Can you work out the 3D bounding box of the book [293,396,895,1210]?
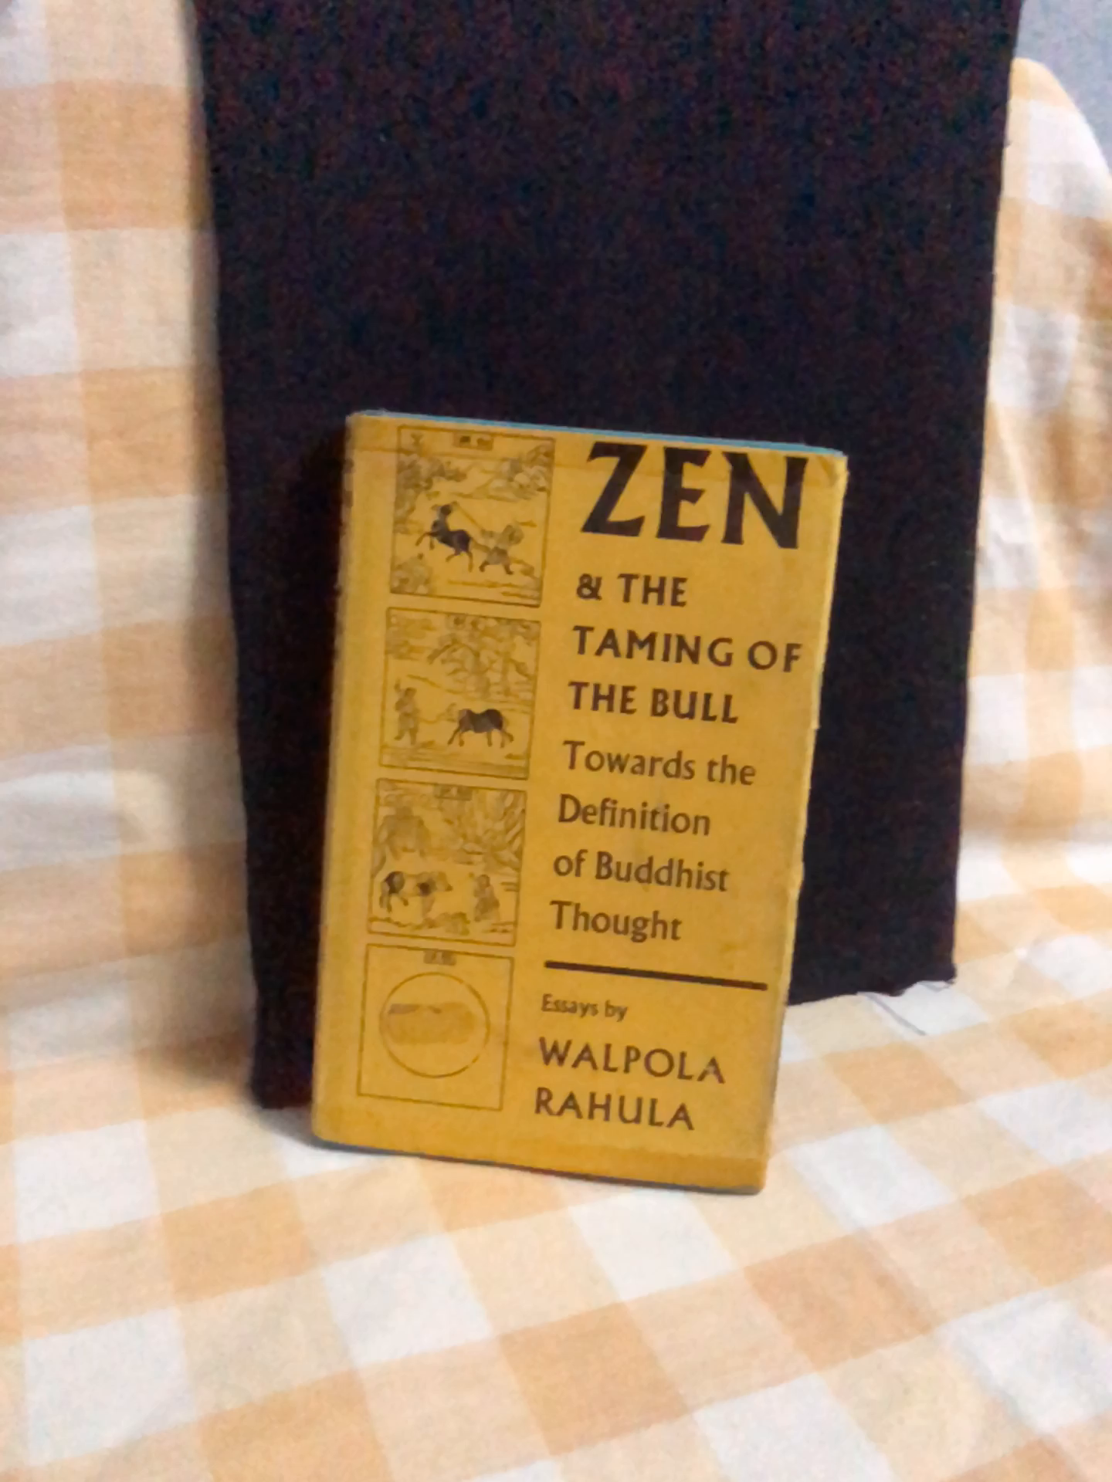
[{"bbox_3d":[0.006,0.019,0.346,0.140,0.209,0.030,6,10,2],"label":"book"}]
